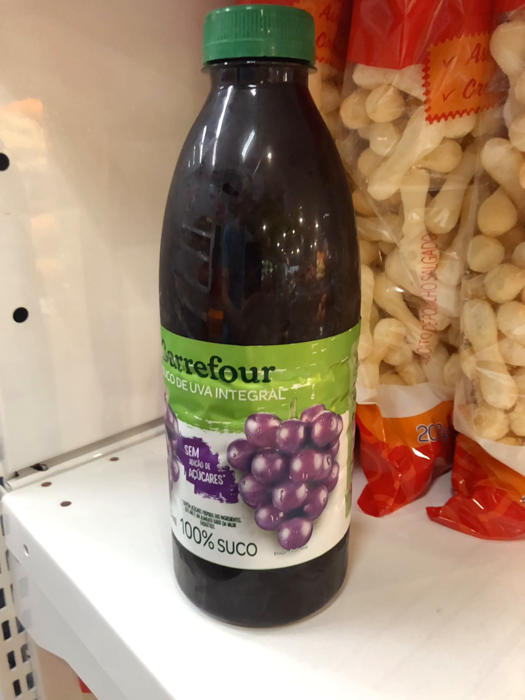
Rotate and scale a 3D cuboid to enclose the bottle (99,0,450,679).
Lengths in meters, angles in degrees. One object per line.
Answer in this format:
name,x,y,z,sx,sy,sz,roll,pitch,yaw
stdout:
bottle,0.006,-0.006,0.233,0.090,0.229,0.080,12,22,27
